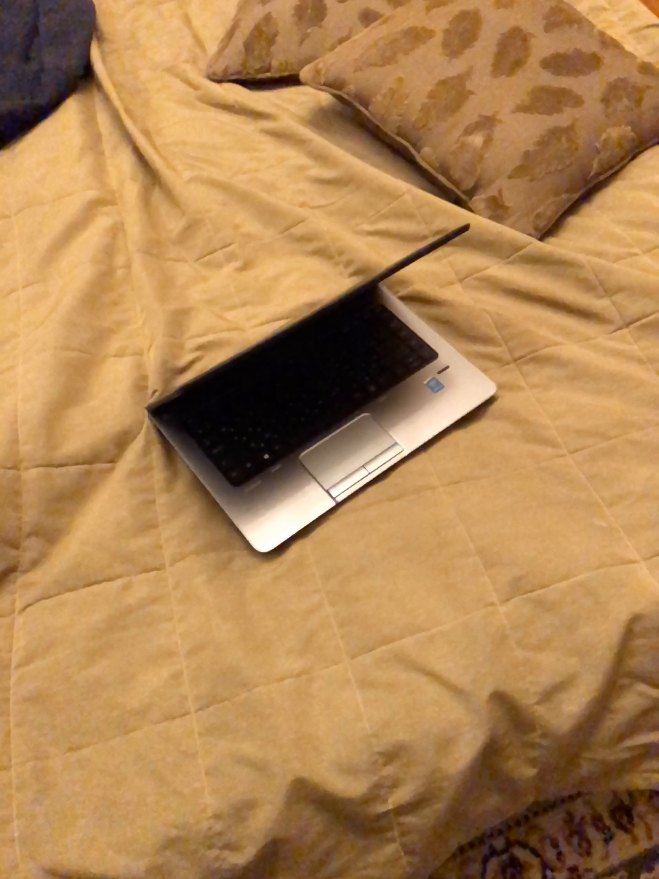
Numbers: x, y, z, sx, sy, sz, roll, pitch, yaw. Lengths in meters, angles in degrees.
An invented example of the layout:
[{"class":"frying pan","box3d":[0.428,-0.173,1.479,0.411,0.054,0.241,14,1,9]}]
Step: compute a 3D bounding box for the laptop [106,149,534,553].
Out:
[{"class":"laptop","box3d":[-0.006,-0.101,0.748,0.332,0.189,0.225,-33,62,-21]}]
